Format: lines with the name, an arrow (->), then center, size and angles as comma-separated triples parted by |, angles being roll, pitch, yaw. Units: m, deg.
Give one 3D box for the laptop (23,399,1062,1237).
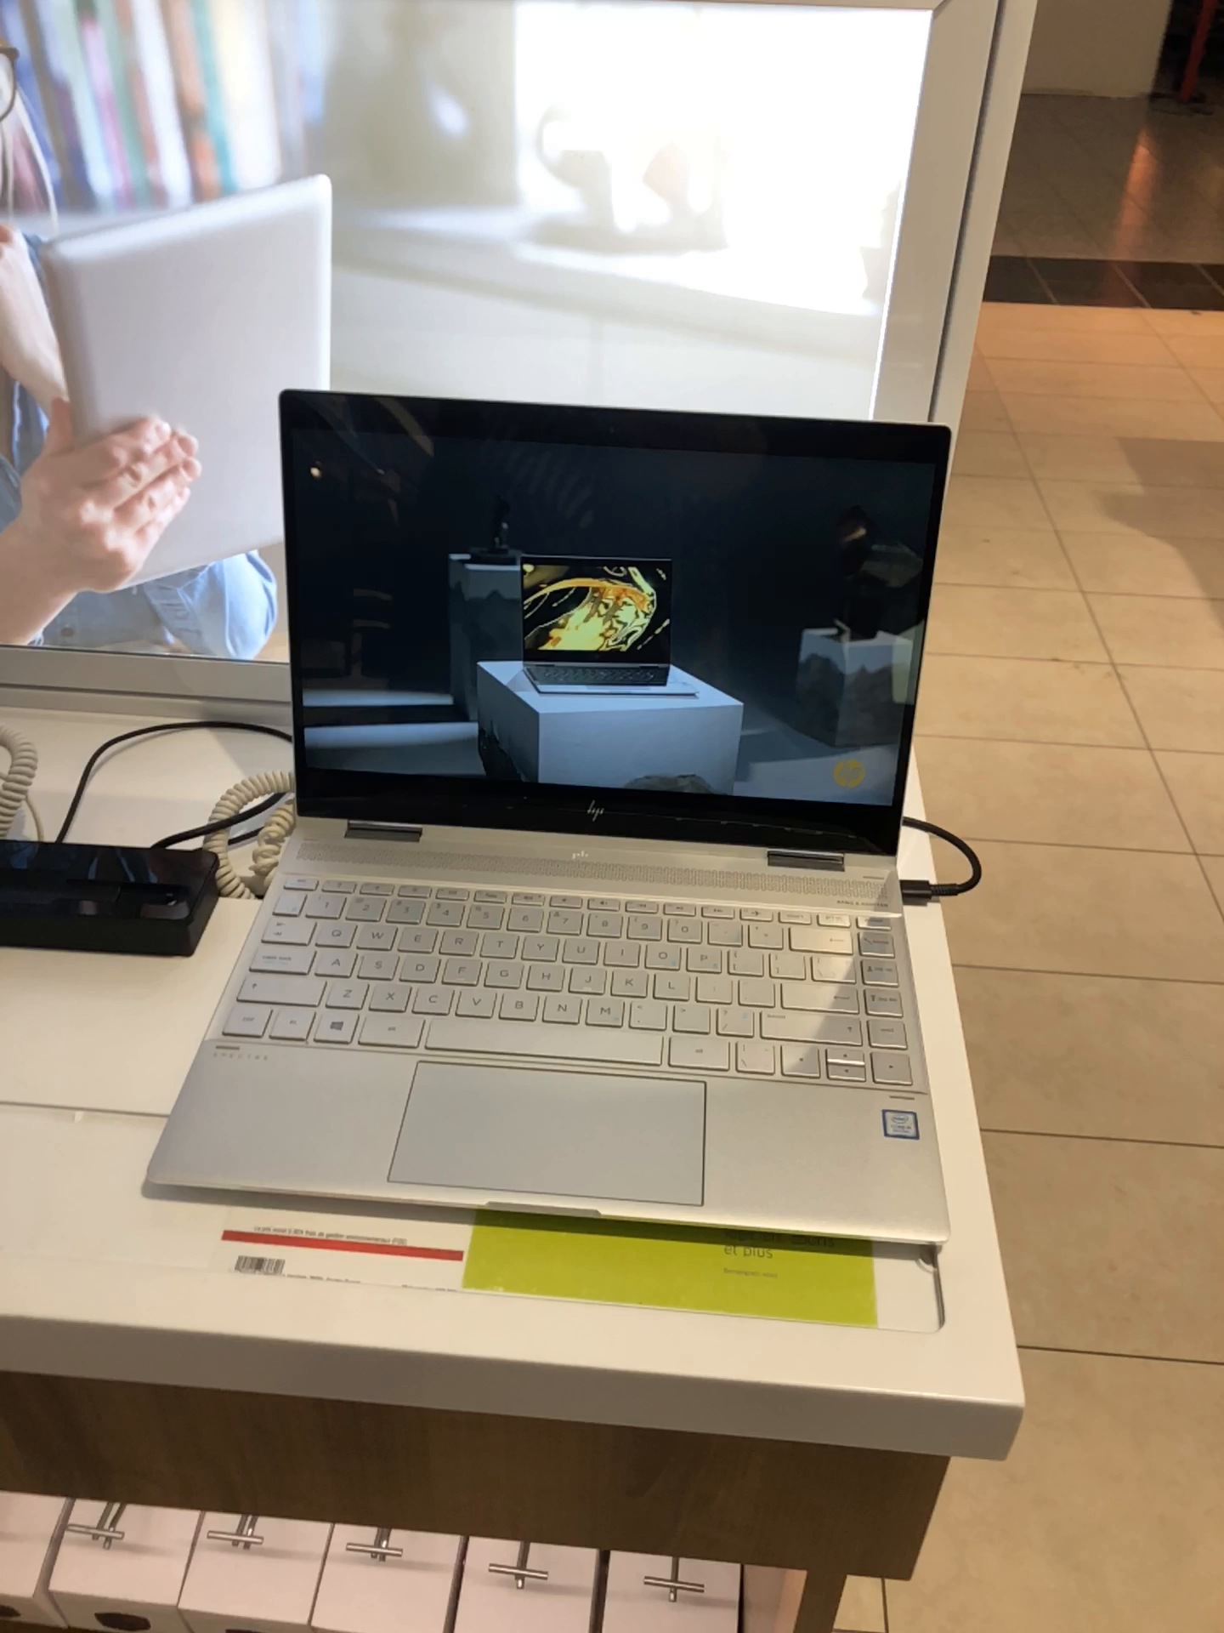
laptop -> -0.012, -0.019, 0.554 | 0.299, 0.193, 0.283 | 4, 38, 3
